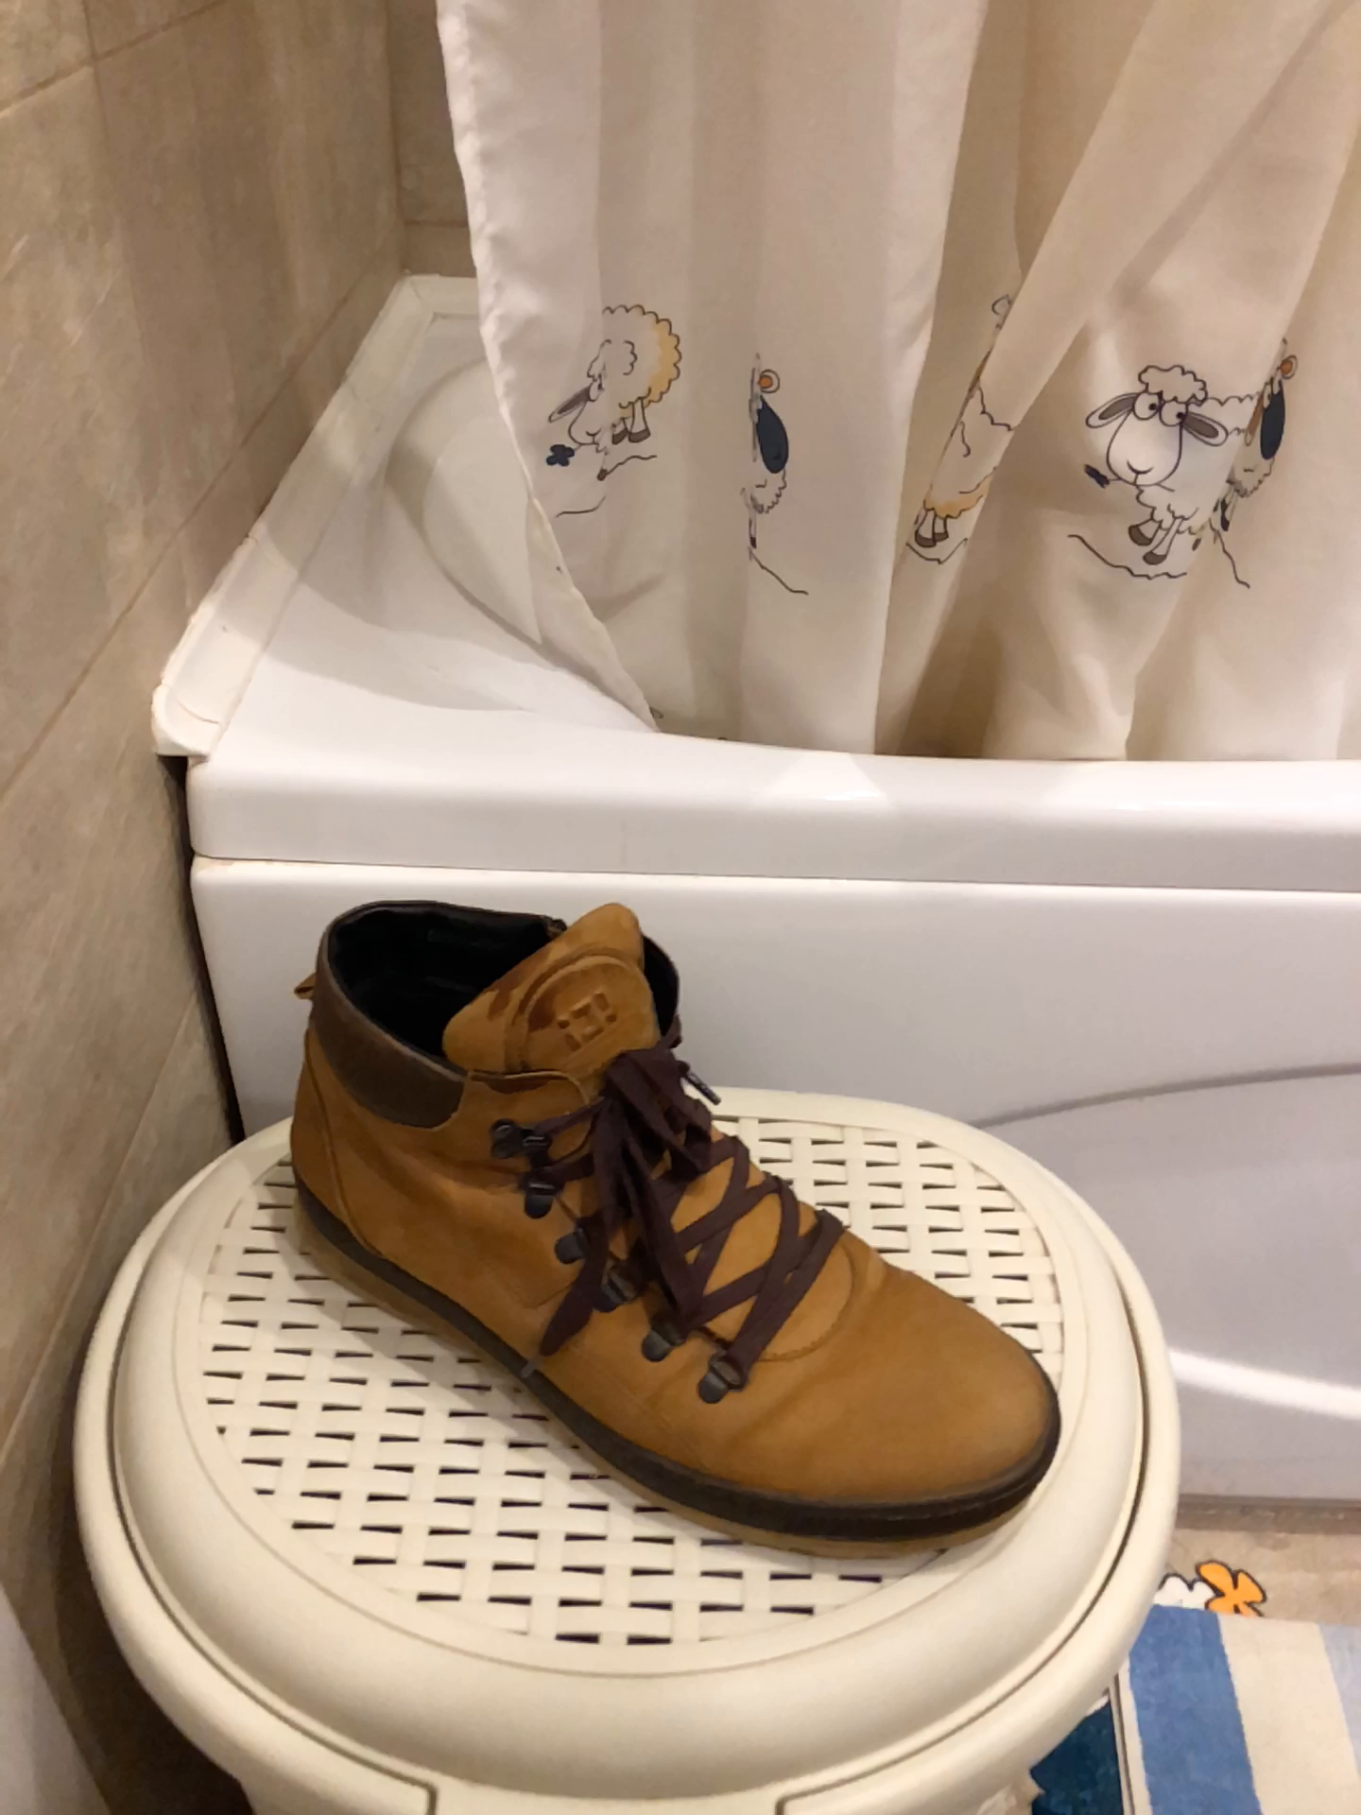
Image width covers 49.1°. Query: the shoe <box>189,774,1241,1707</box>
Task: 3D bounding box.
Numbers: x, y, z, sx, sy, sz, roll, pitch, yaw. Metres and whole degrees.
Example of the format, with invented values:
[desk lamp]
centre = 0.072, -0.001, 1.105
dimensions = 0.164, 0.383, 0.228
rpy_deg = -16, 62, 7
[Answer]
[shoe]
centre = 0.002, 0.095, 0.486
dimensions = 0.290, 0.169, 0.111
rpy_deg = 20, 41, 22
